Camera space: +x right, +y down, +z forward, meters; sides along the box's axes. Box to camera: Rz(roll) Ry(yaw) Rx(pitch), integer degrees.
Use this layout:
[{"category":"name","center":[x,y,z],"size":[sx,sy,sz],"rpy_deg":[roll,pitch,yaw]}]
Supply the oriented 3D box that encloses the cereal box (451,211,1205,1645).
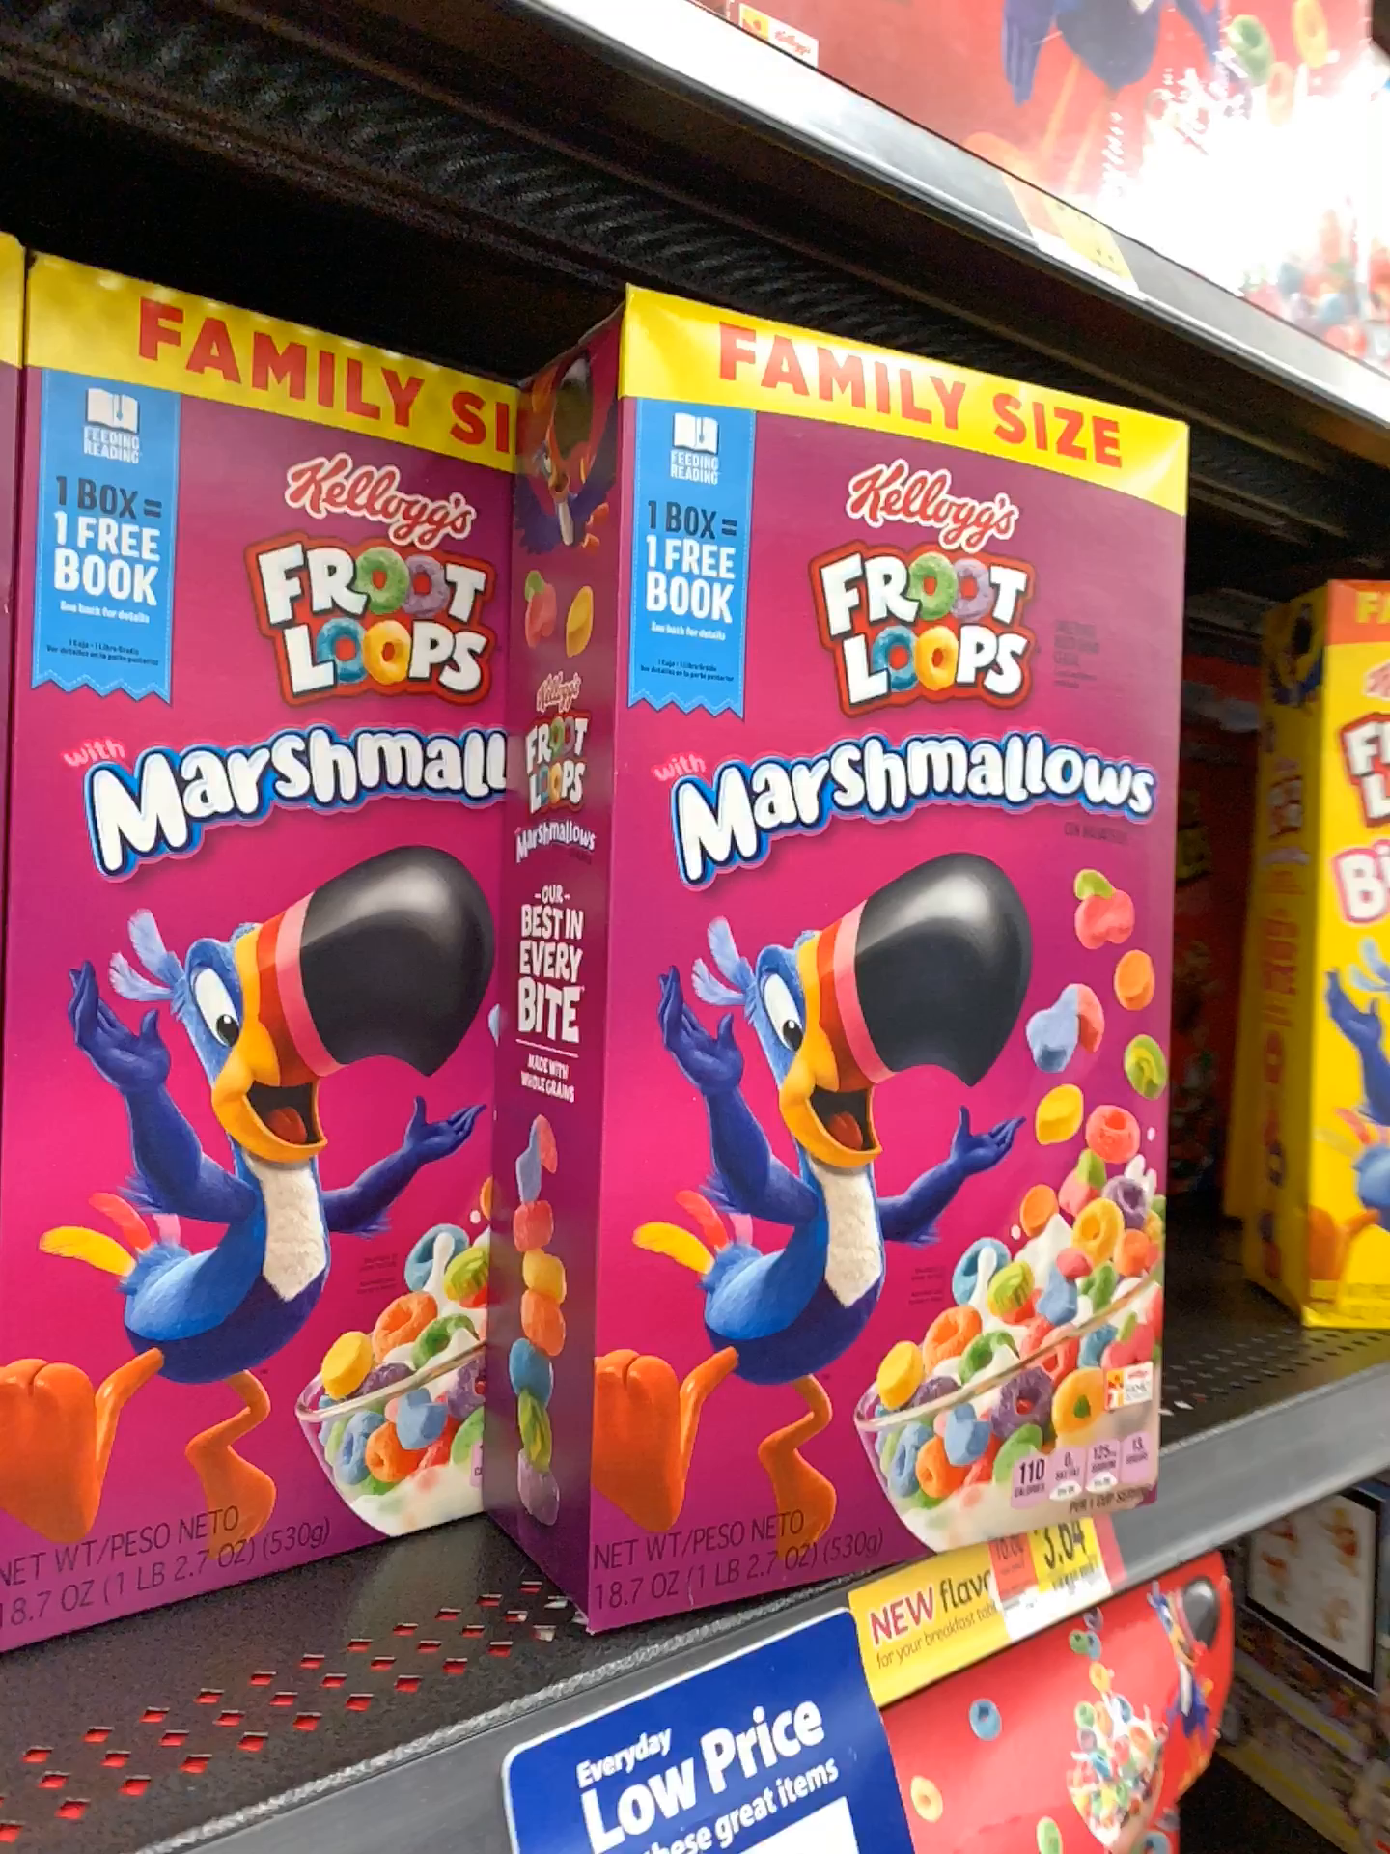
[{"category":"cereal box","center":[0.042,0.001,0.422],"size":[0.200,0.340,0.080],"rpy_deg":[1,0,-28]}]
